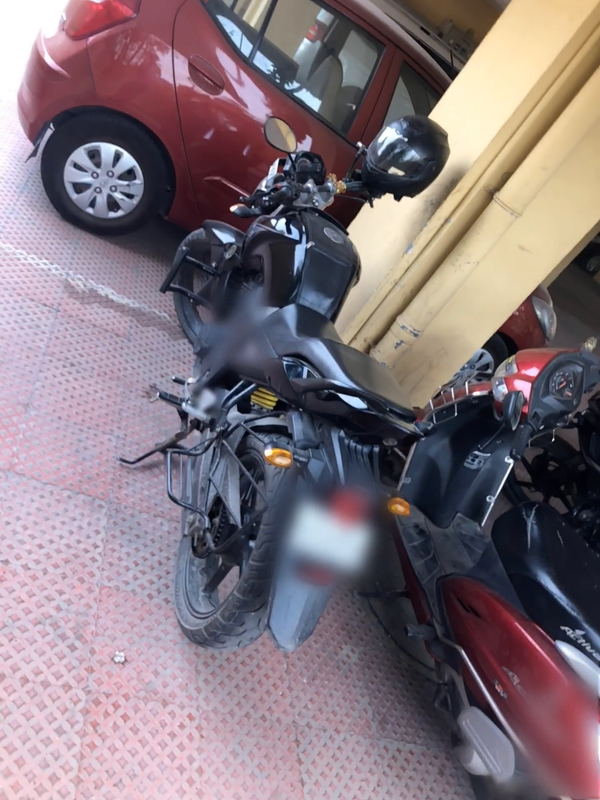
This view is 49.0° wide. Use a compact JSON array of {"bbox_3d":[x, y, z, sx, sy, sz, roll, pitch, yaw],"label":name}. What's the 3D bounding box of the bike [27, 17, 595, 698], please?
[{"bbox_3d":[-0.210,-0.267,2.029,0.739,1.026,1.790,21,31,-30],"label":"bike"}]
